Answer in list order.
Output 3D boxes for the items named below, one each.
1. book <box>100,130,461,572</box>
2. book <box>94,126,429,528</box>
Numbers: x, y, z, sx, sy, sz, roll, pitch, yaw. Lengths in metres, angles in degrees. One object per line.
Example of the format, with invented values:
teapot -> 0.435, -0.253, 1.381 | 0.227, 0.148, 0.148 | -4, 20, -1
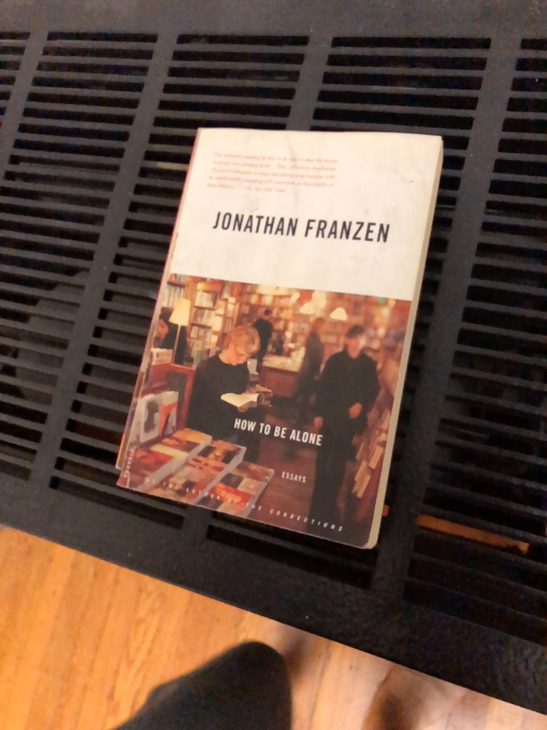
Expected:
book -> 0.005, -0.019, 0.320 | 0.150, 0.030, 0.210 | 8, 81, 19
book -> -0.005, -0.031, 0.346 | 0.150, 0.030, 0.210 | 8, 81, 19
